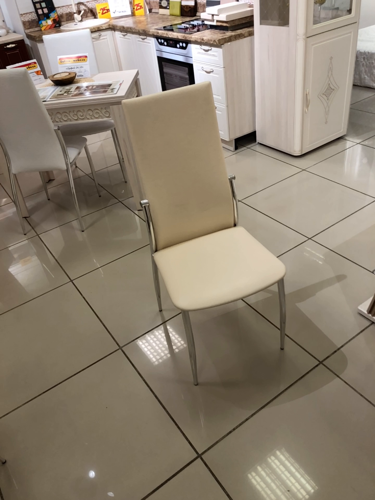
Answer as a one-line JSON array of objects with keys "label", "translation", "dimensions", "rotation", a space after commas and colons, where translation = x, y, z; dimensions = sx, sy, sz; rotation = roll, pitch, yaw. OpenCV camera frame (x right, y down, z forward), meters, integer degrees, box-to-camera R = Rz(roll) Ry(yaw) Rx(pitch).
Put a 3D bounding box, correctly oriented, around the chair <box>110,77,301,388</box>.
[{"label": "chair", "translation": [0.075, -0.053, 1.557], "dimensions": [0.430, 0.975, 0.502], "rotation": [-17, 37, -13]}]
